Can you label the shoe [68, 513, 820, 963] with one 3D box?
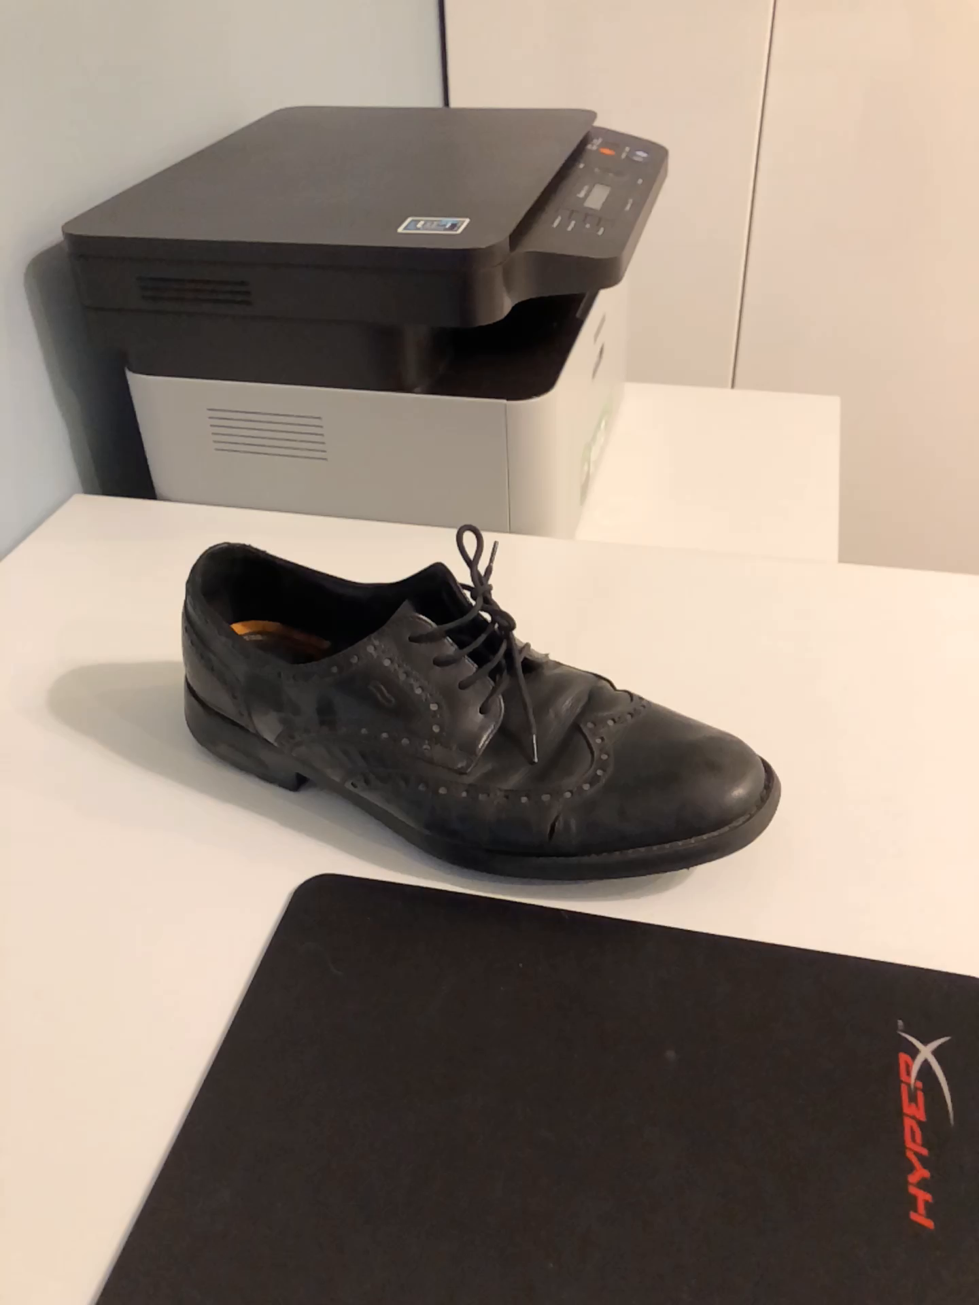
[{"bbox_3d":[-0.022,0.025,0.501,0.313,0.079,0.120,13,39,19],"label":"shoe"}]
